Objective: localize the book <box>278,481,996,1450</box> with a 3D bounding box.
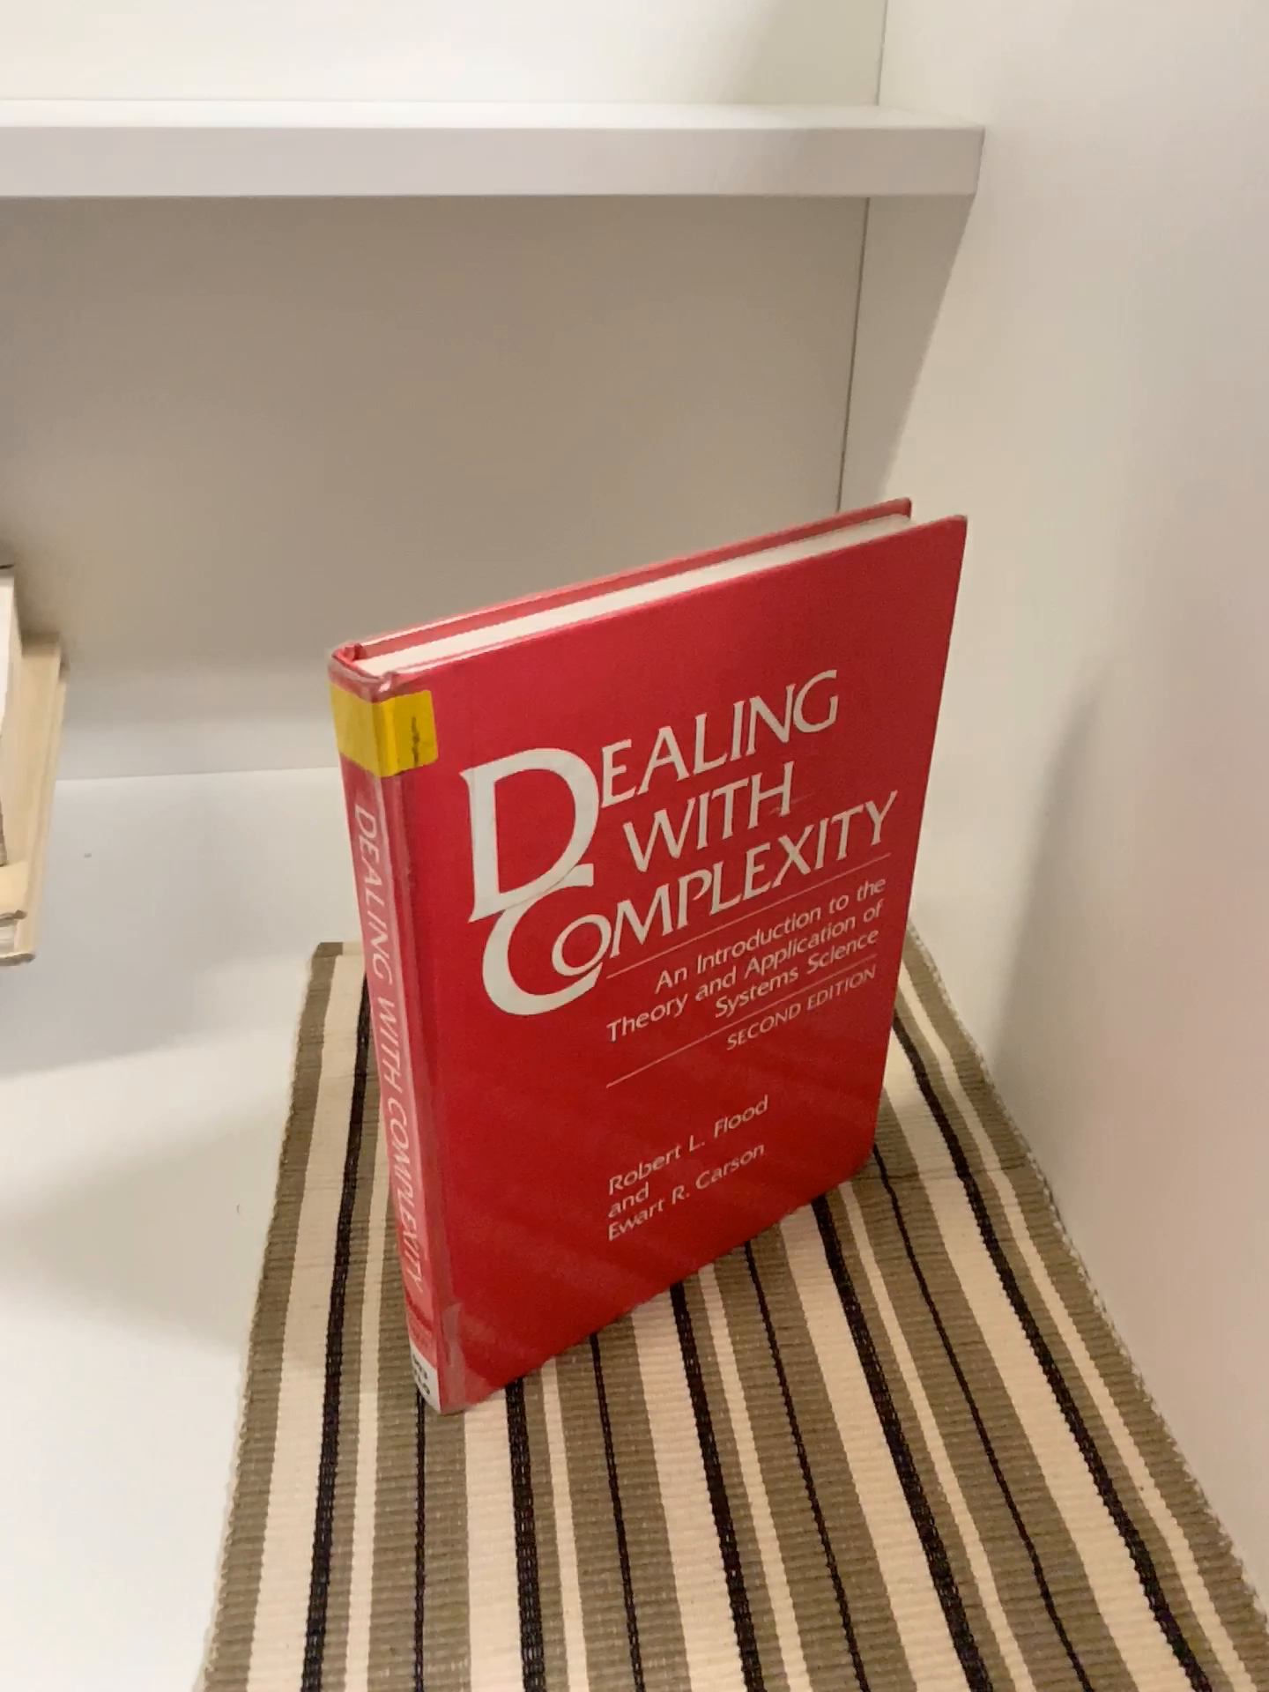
[{"bbox_3d":[0.010,0.037,0.388,0.201,0.250,0.030,-21,38,-31],"label":"book"}]
